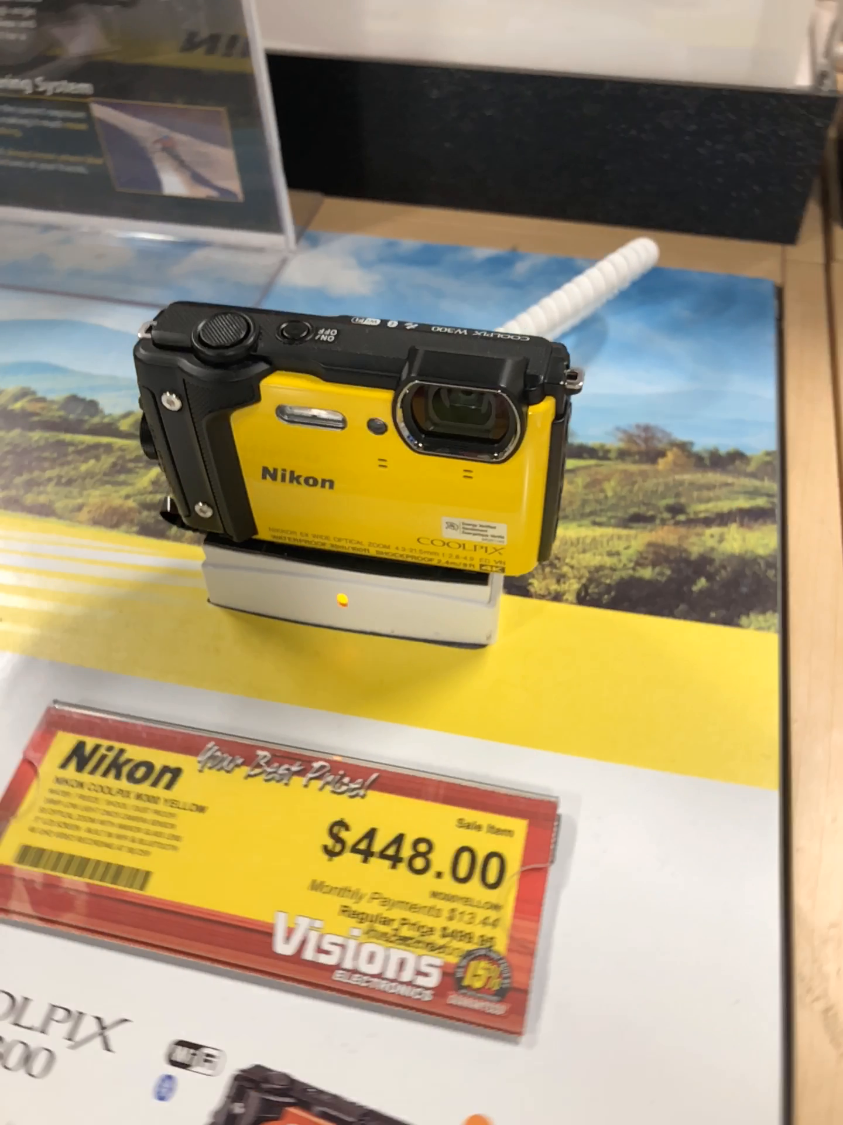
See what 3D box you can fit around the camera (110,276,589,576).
[{"bbox_3d":[-0.016,-0.035,0.246,0.110,0.060,0.030,8,49,10],"label":"camera"}]
